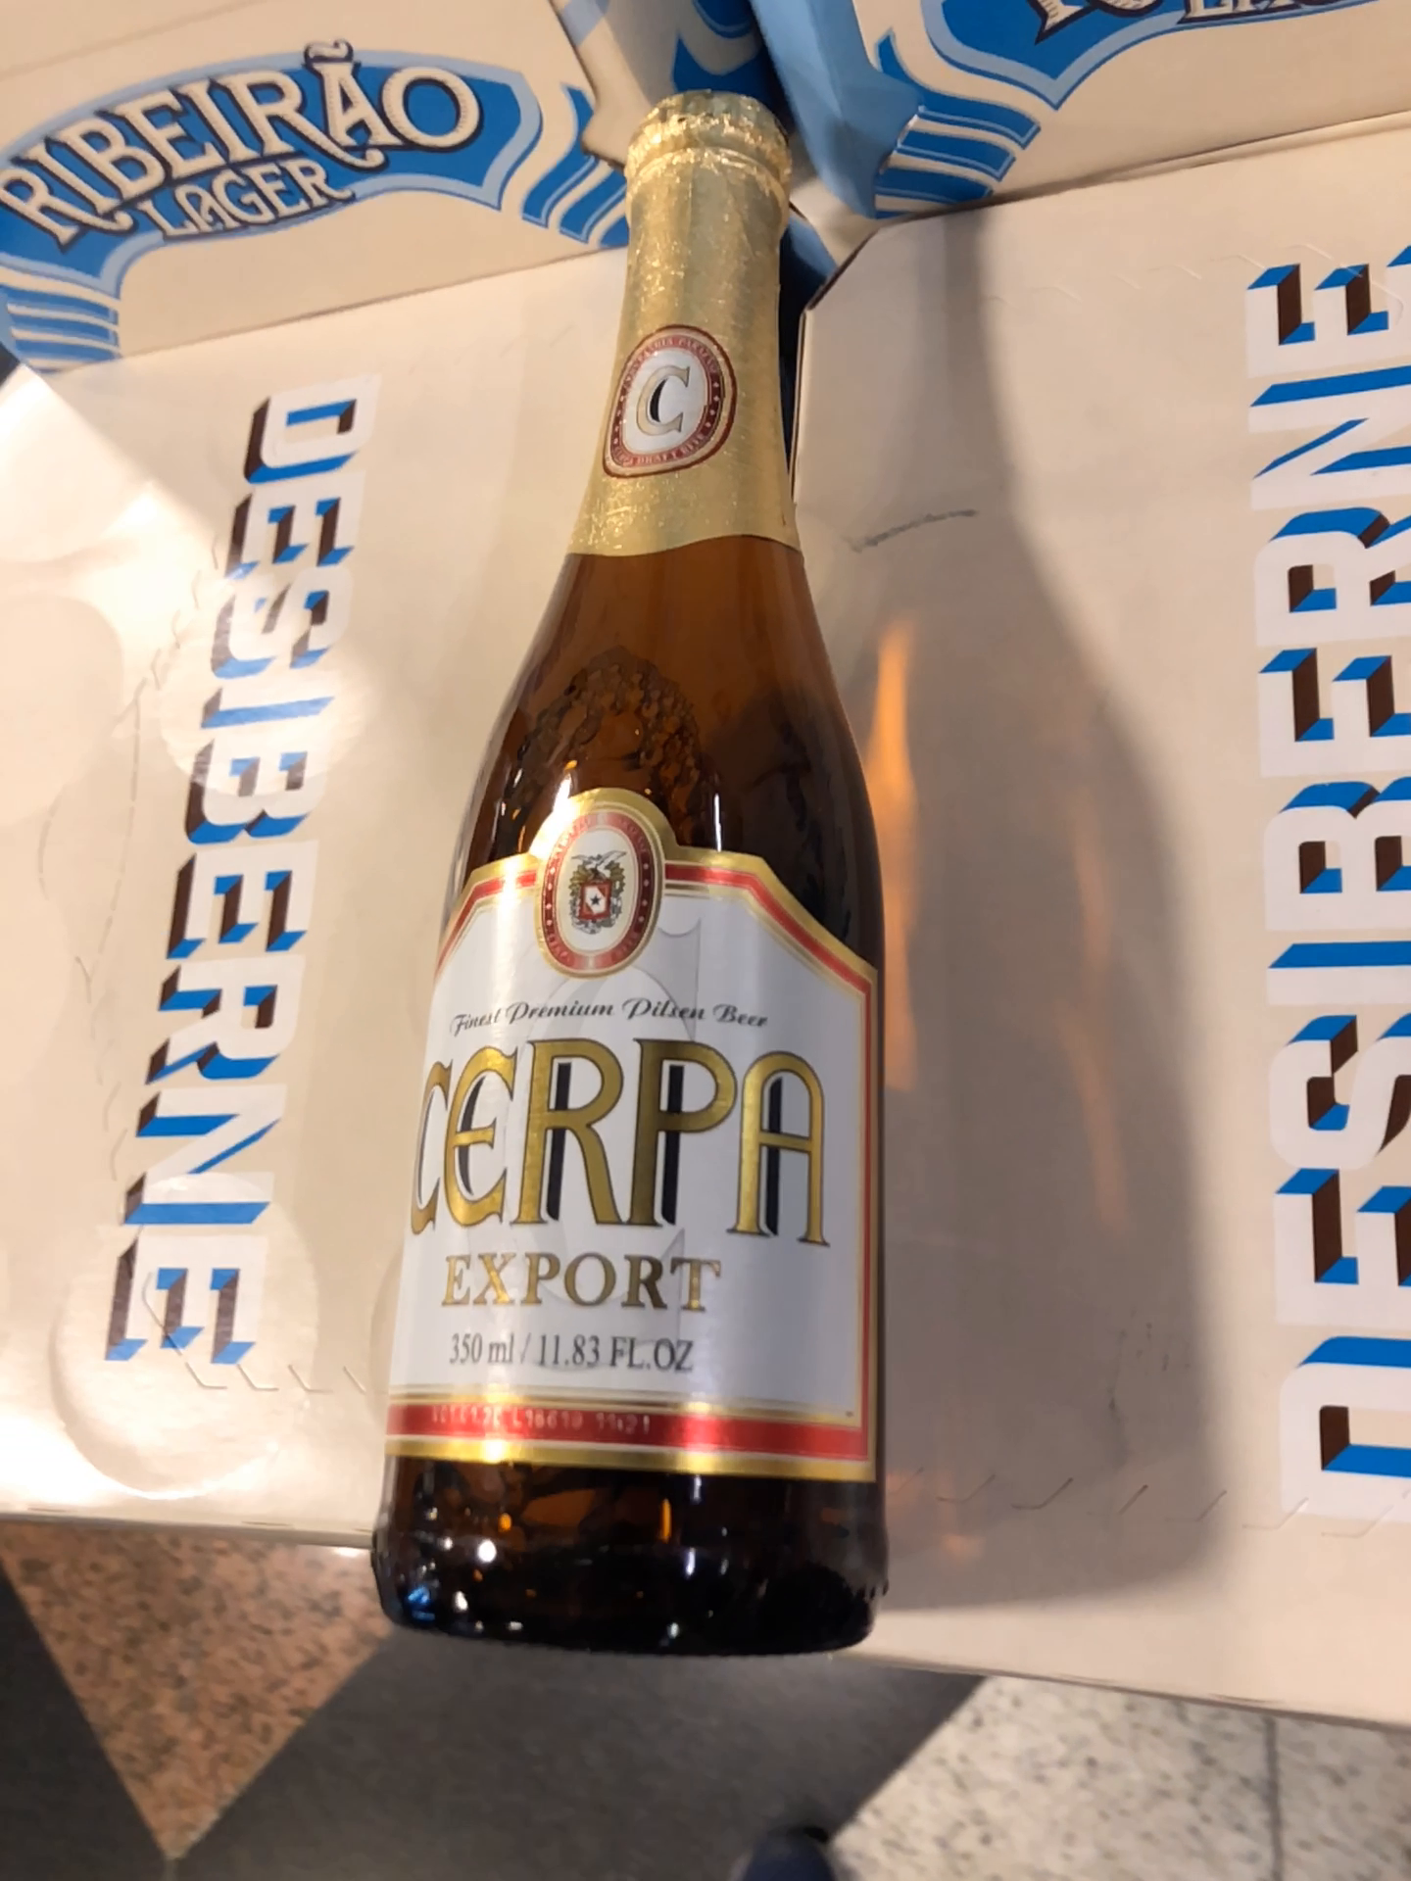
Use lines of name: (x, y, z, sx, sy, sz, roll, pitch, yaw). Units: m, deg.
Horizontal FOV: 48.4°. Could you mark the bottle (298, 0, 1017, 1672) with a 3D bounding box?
bottle: (-0.002, -0.032, 0.227, 0.070, 0.060, 0.240, -6, 71, 19)
